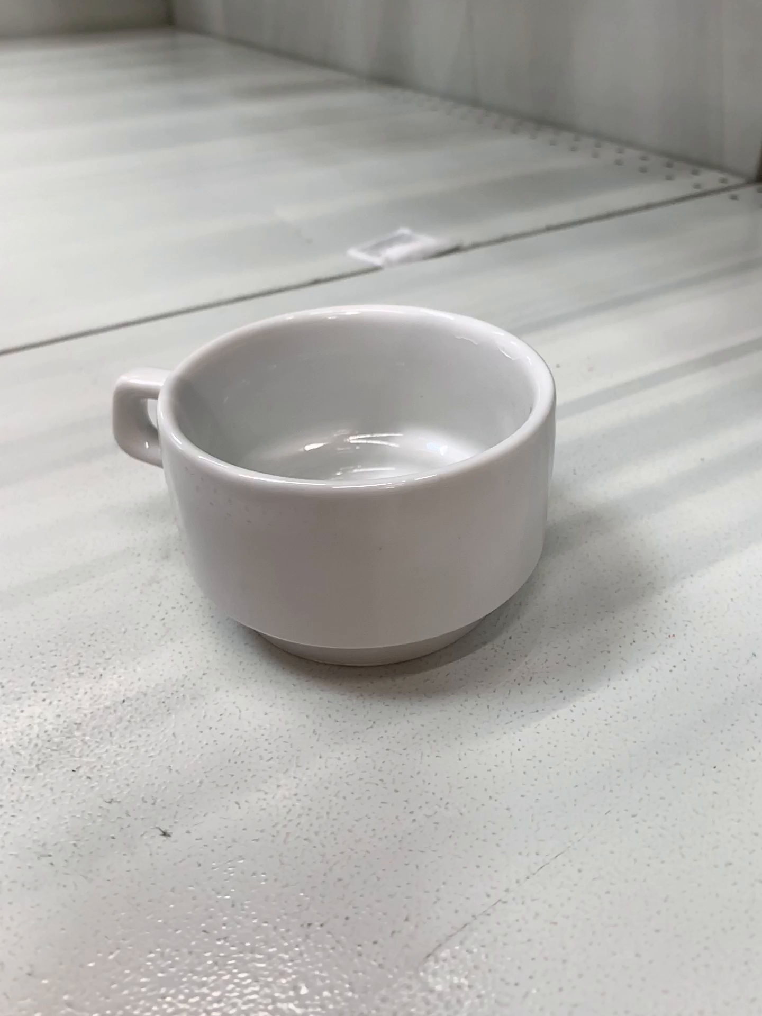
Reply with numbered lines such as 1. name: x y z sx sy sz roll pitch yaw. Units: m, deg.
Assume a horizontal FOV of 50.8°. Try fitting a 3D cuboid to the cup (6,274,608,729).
1. cup: -0.011 -0.012 0.203 0.111 0.051 0.091 14 39 20
